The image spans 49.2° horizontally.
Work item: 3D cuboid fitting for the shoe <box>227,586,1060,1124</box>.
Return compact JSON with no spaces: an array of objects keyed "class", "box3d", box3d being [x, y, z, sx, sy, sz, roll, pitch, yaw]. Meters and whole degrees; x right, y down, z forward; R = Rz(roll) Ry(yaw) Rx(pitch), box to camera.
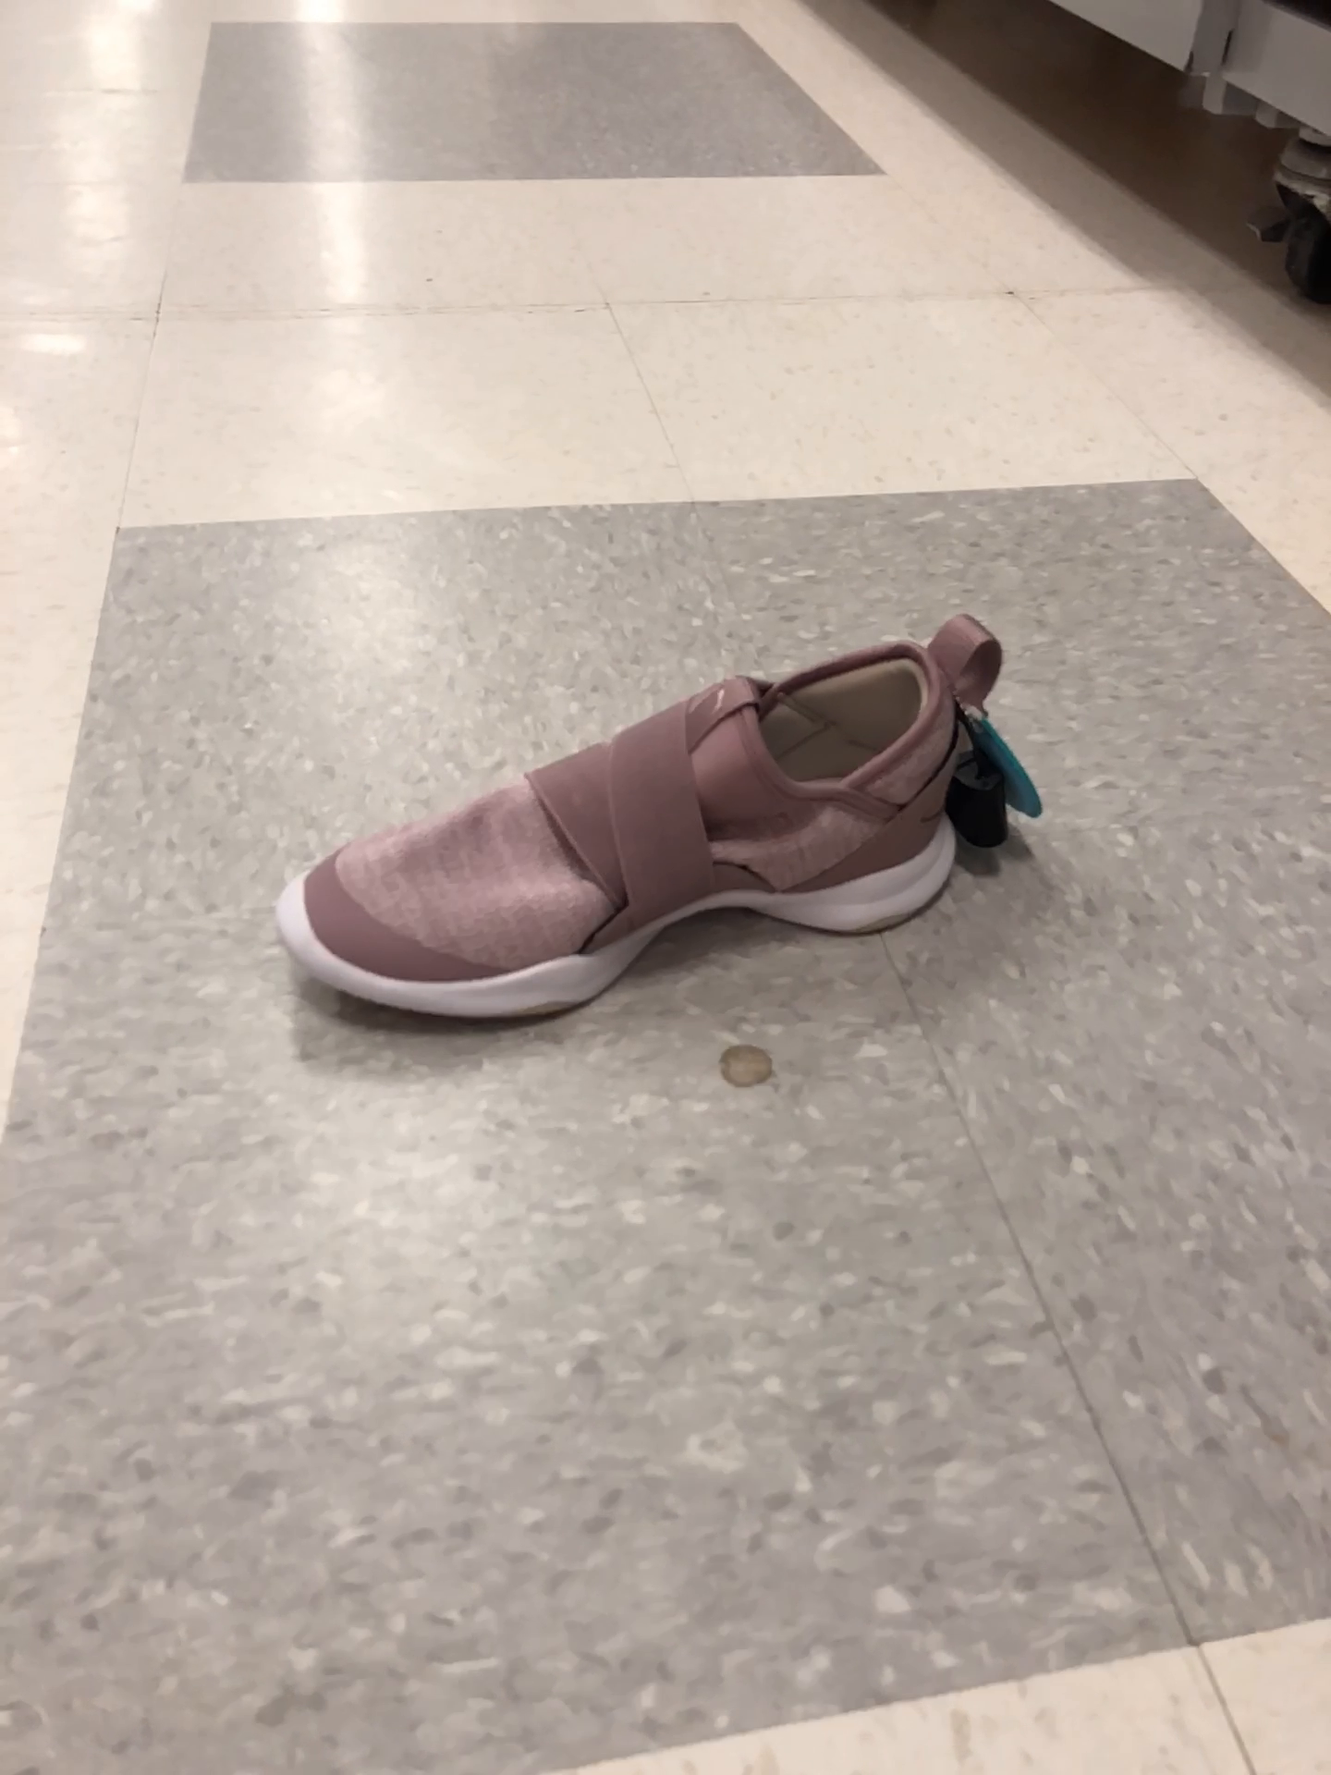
[{"class":"shoe","box3d":[-0.007,-0.021,0.537,0.272,0.093,0.106,-15,44,-20]}]
